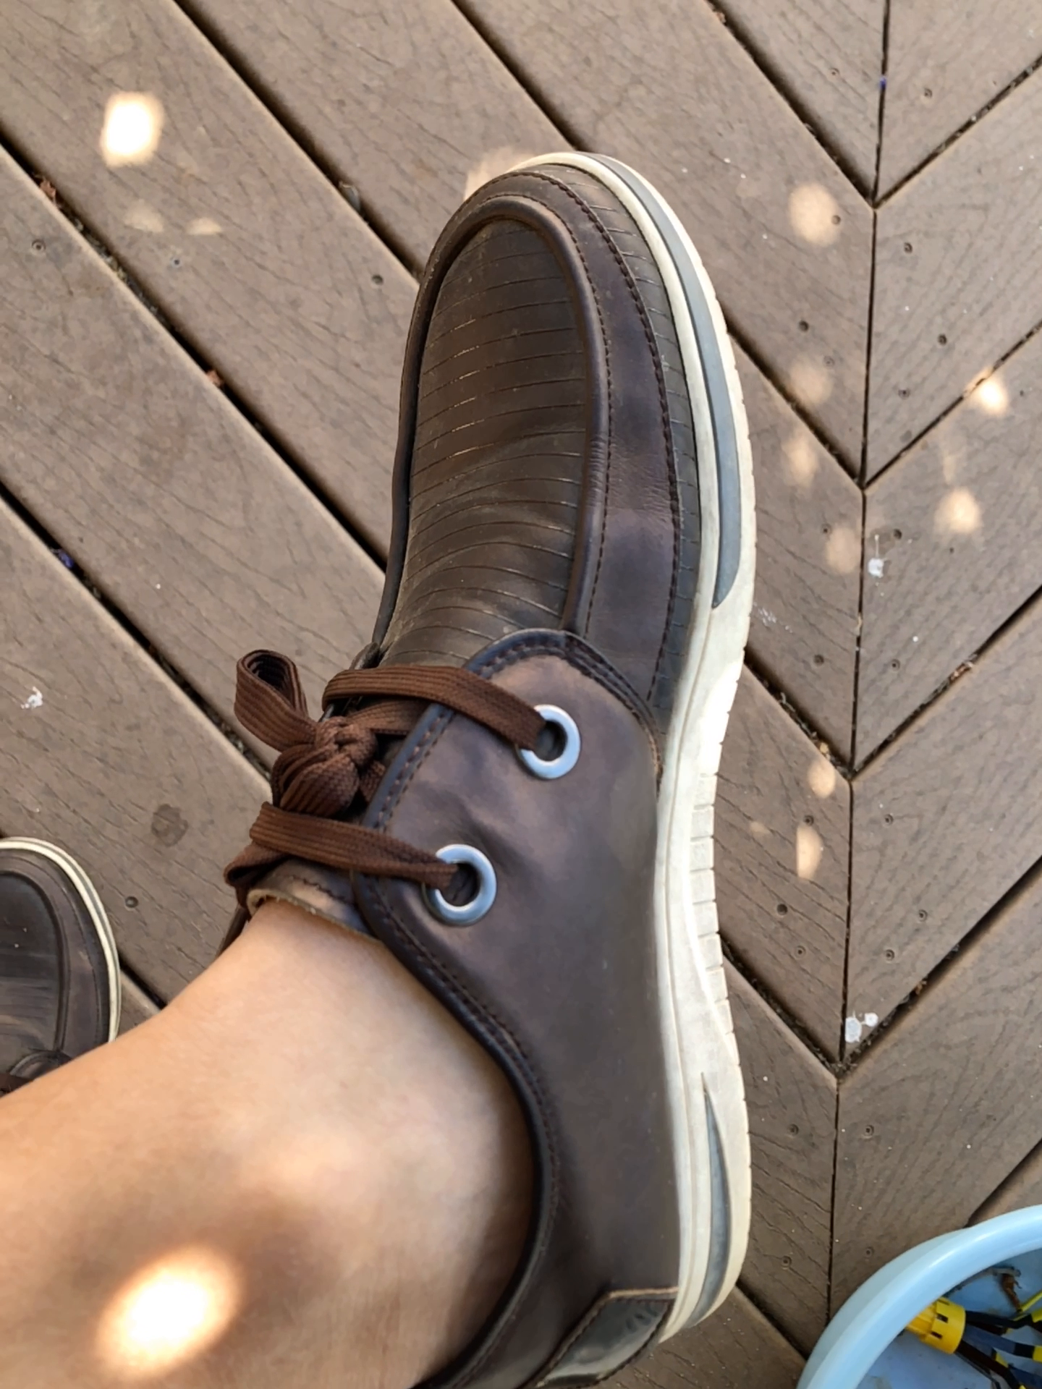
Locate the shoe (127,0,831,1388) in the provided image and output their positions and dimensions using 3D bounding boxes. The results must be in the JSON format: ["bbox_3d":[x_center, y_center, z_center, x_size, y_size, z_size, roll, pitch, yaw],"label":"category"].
[{"bbox_3d":[-0.007,0.008,0.254,0.102,0.097,0.274,4,89,-49],"label":"shoe"}]
